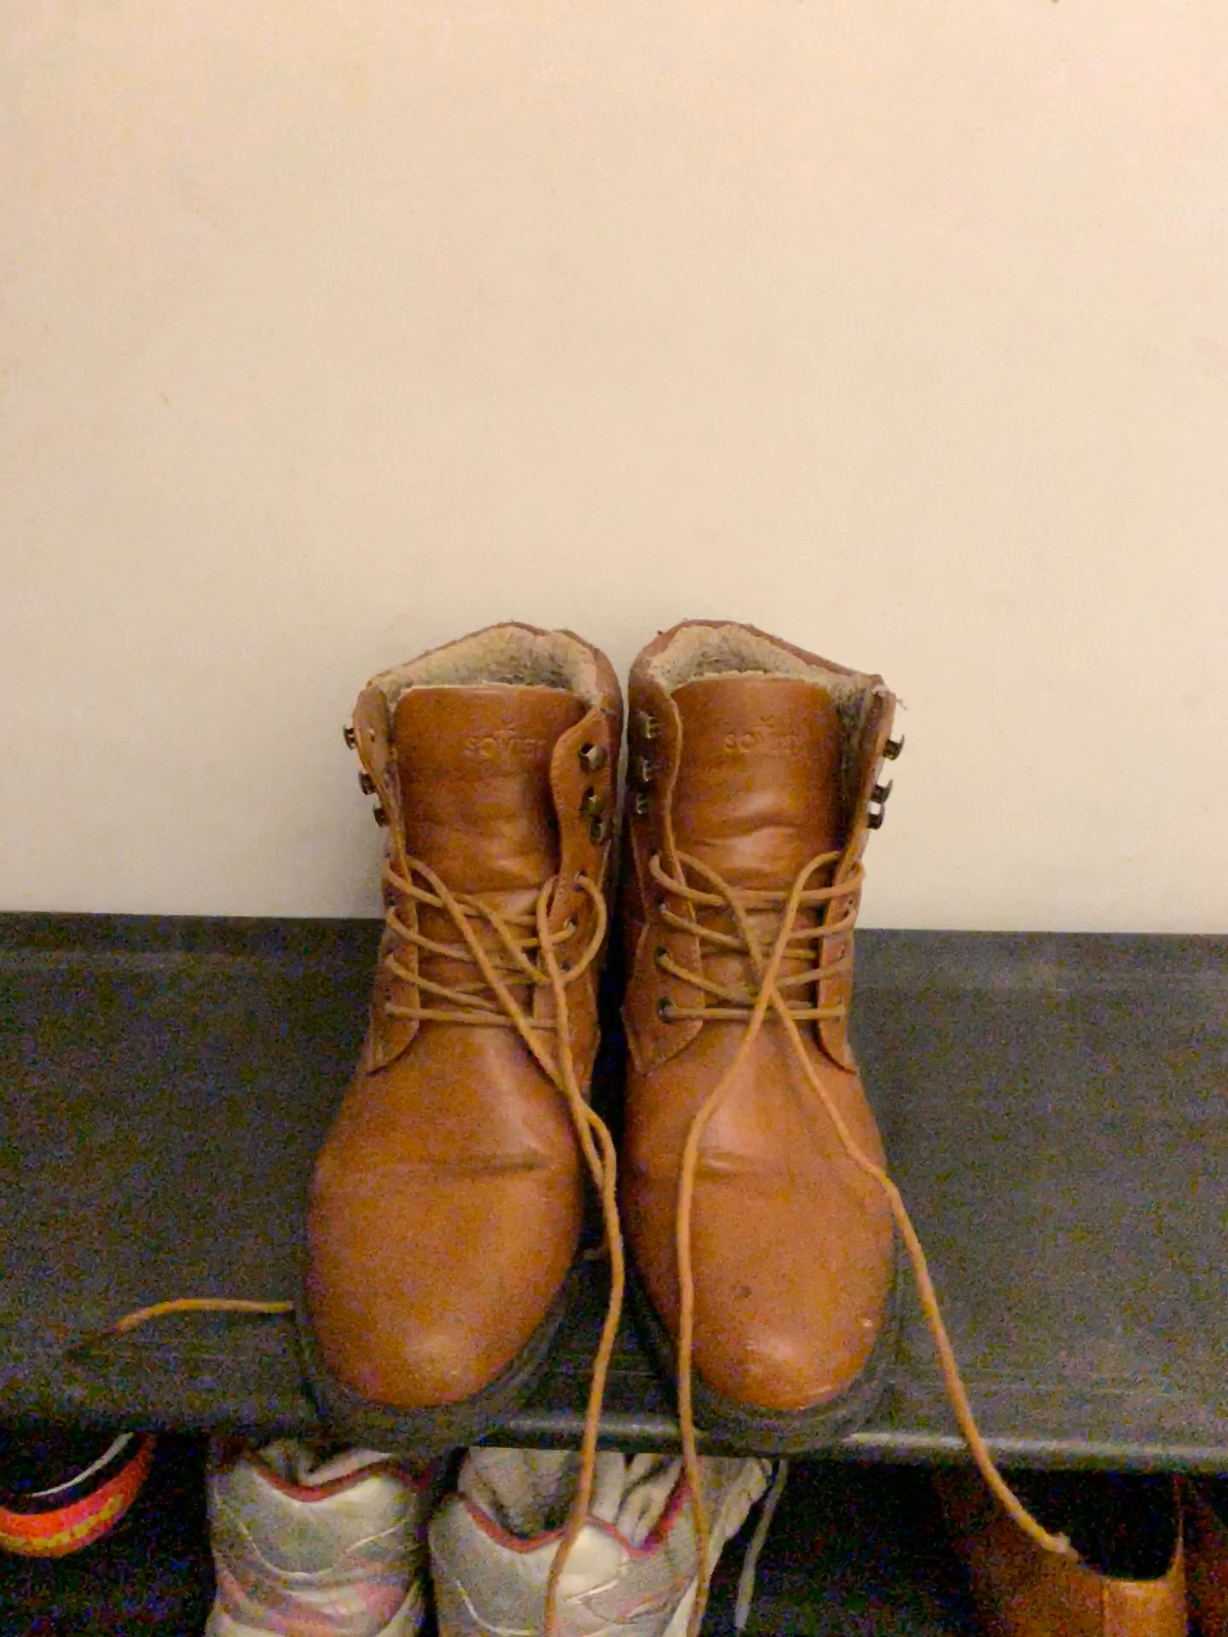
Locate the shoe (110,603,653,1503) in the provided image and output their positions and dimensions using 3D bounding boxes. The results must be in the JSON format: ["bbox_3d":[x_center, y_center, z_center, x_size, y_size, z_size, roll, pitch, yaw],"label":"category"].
[{"bbox_3d":[-0.055,0.064,0.484,0.110,0.198,0.273,4,32,7],"label":"shoe"}]

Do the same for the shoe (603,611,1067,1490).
[{"bbox_3d":[0.054,0.065,0.454,0.110,0.198,0.242,0,31,1],"label":"shoe"}]
